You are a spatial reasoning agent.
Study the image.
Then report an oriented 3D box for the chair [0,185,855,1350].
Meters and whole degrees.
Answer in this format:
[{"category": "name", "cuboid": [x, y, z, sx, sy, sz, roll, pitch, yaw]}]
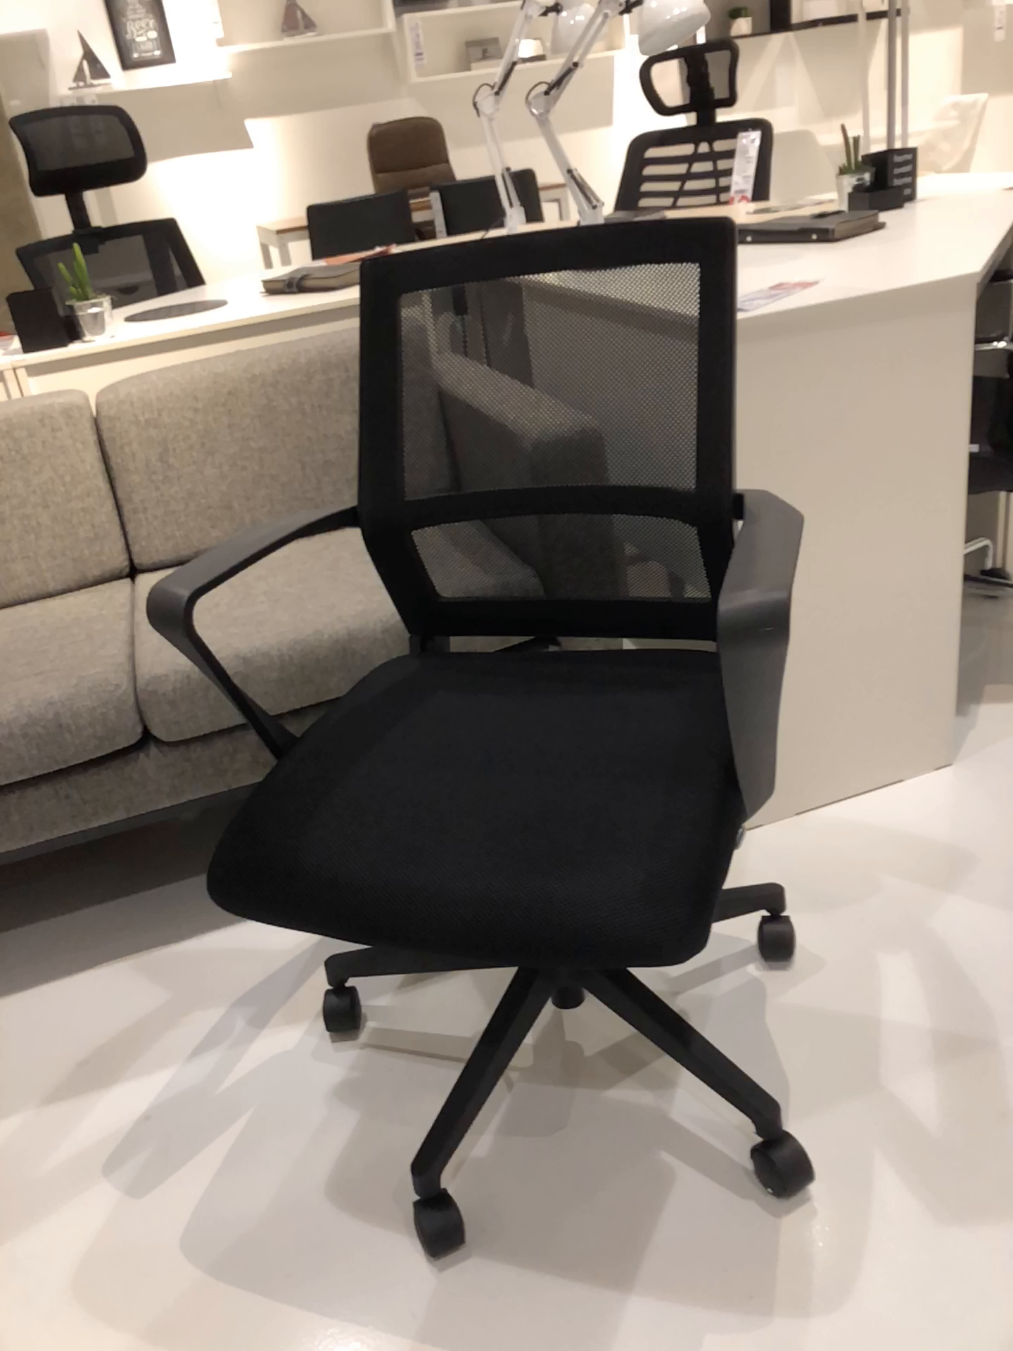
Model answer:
[{"category": "chair", "cuboid": [-0.007, 0.051, 1.193, 0.680, 0.934, 0.634, 2, 27, 21]}]
